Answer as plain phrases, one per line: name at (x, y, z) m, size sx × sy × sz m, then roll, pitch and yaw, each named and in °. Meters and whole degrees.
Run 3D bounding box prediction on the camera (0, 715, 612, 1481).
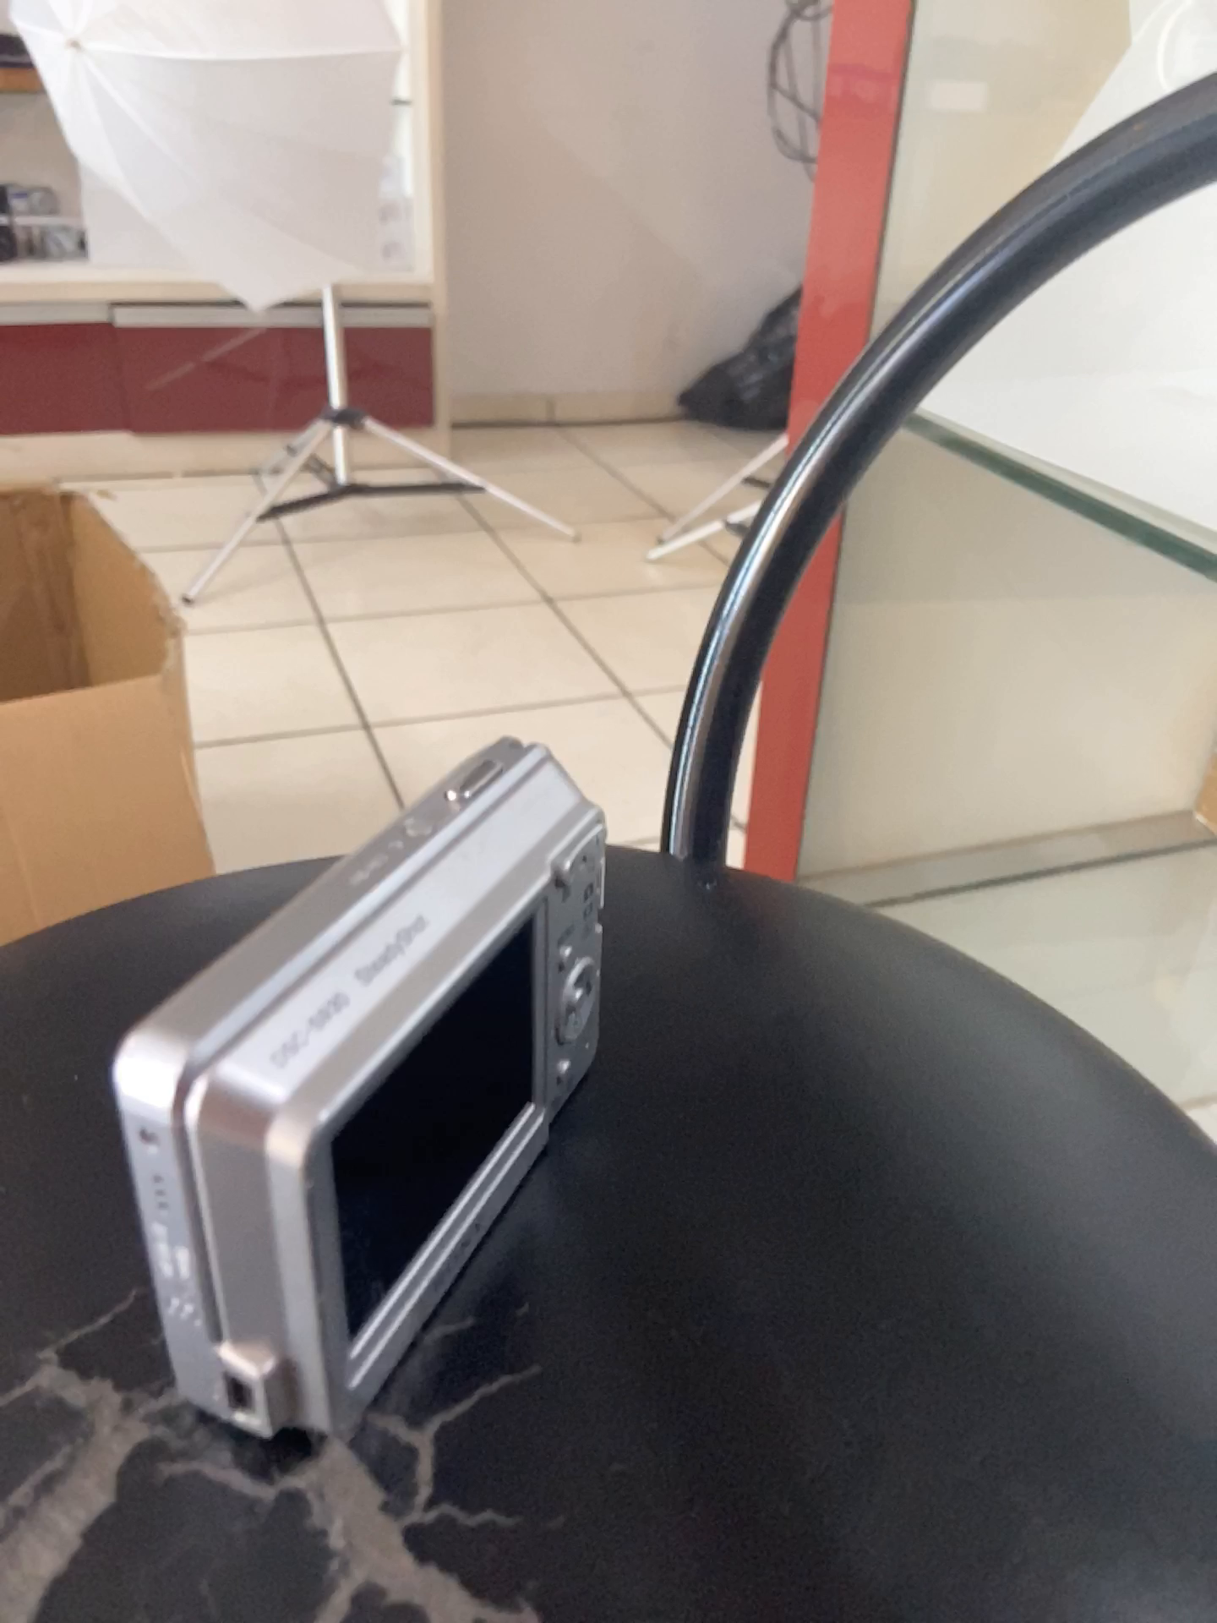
camera at (-0.034, 0.032, 0.176) m, size 0.035 × 0.057 × 0.083 m, roll 15°, pitch 32°, yaw 20°
